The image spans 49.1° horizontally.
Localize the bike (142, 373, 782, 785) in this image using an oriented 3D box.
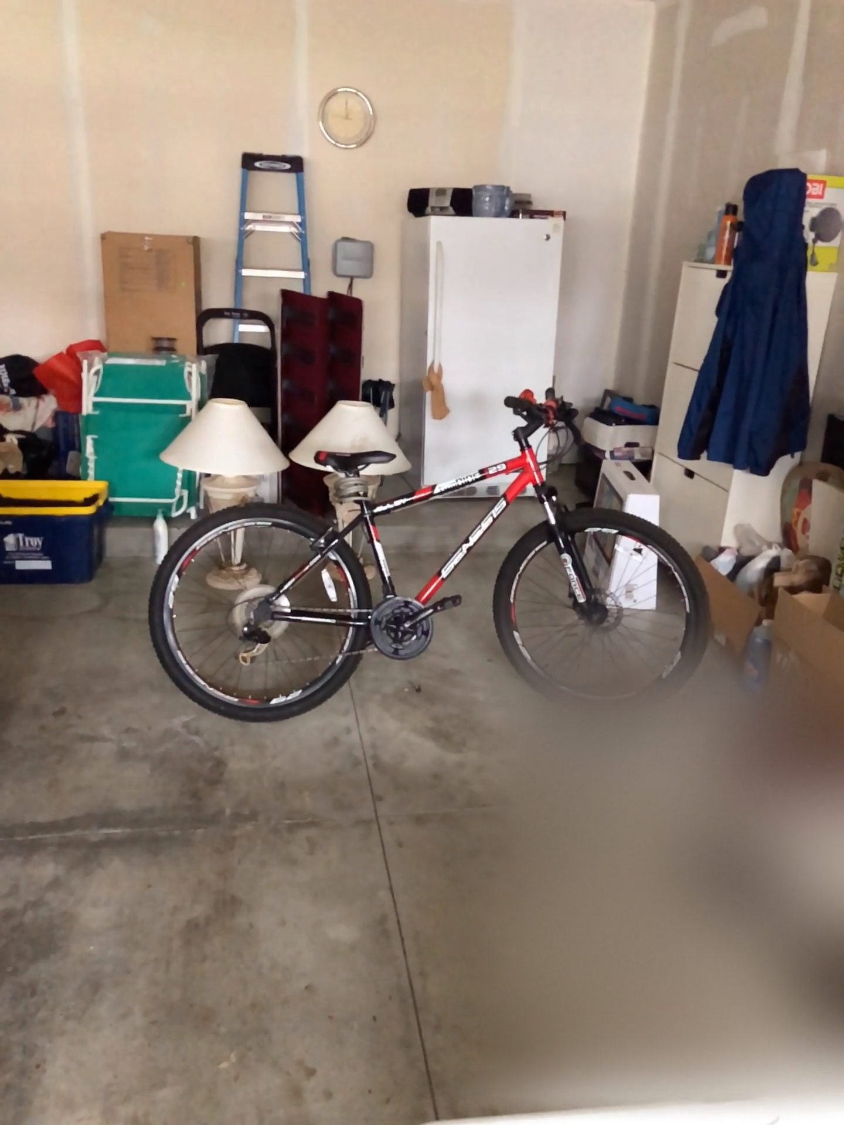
[{"bbox_3d":[0.022,0.027,2.846,1.668,1.054,0.591,2,18,-2],"label":"bike"}]
